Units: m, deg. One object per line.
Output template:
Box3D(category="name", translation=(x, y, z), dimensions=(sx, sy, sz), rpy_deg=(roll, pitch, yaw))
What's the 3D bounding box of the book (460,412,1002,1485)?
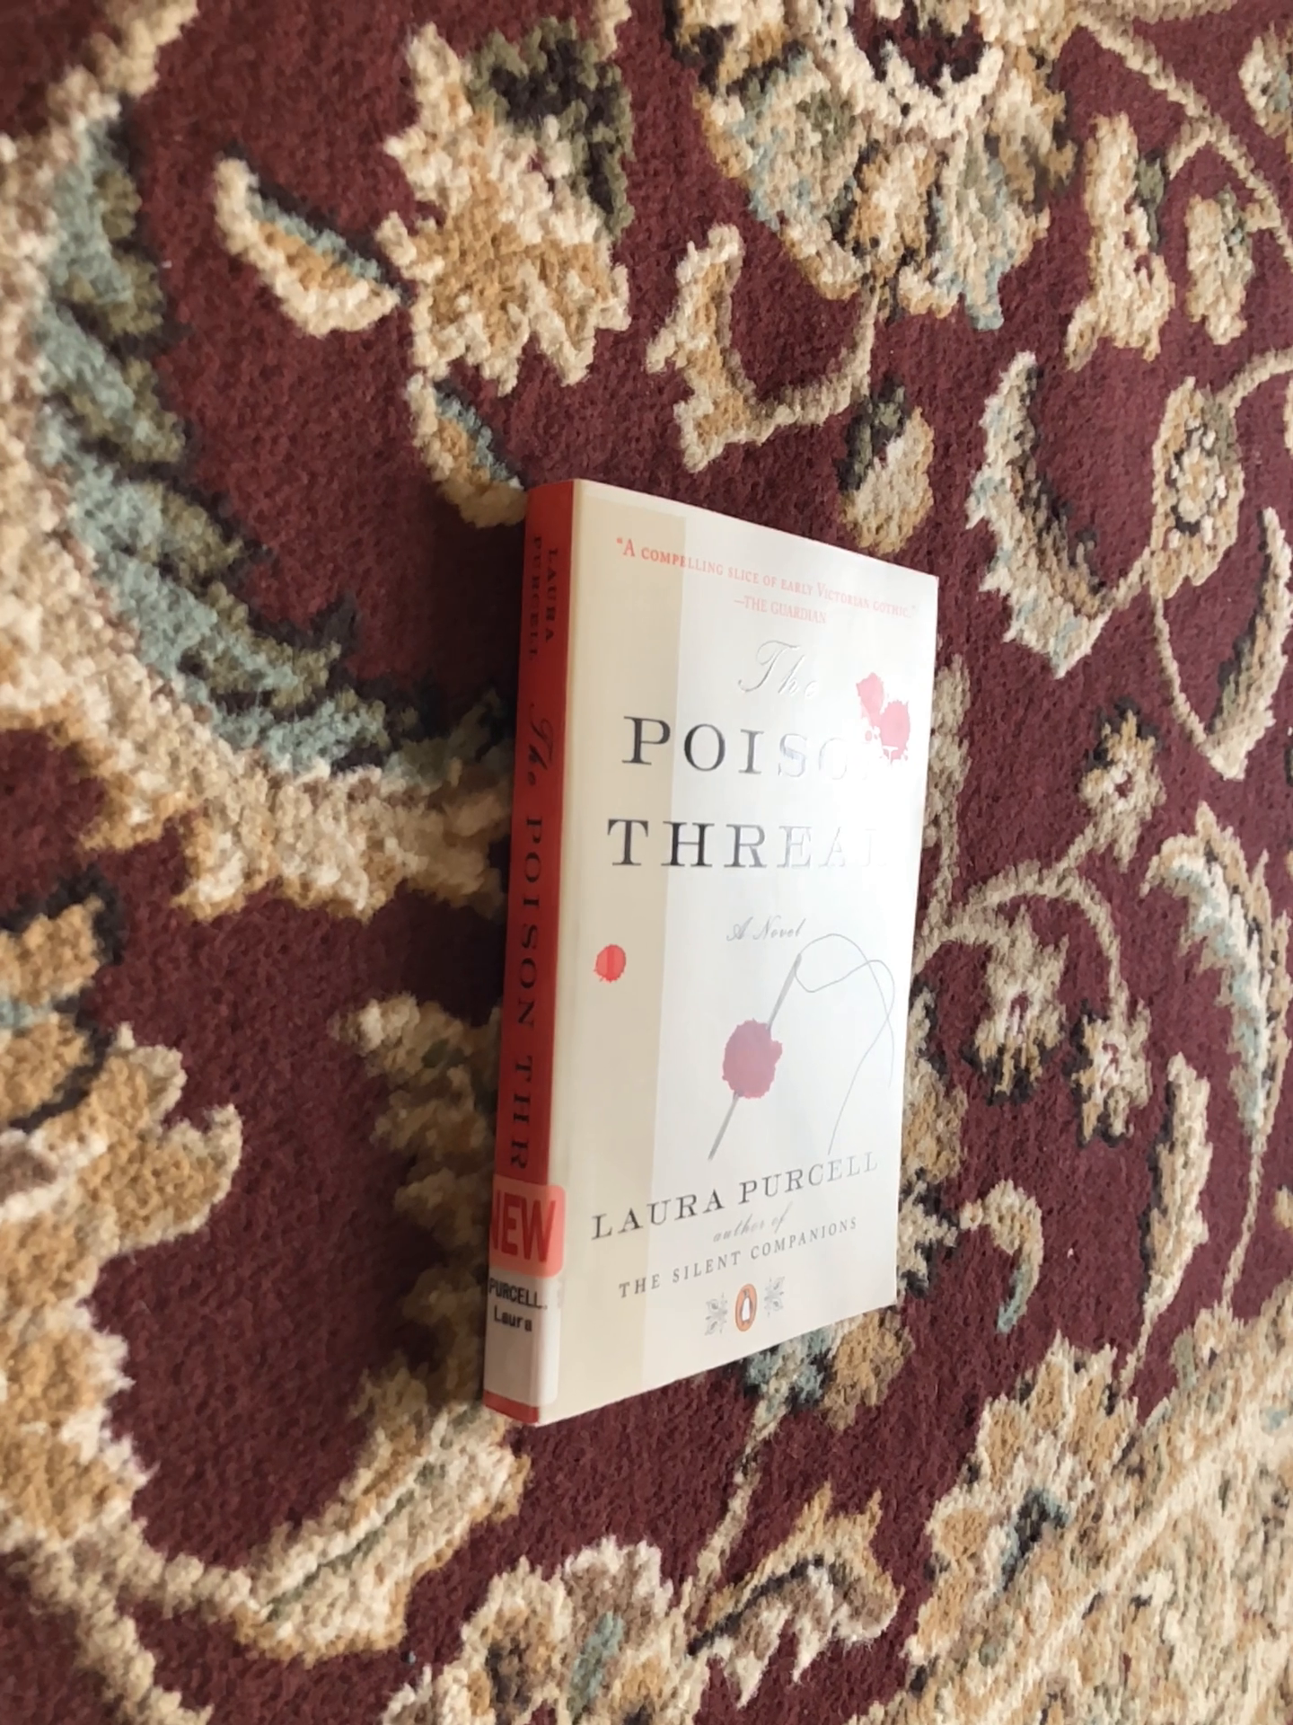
Box3D(category="book", translation=(0.026, 0.017, 0.327), dimensions=(0.141, 0.030, 0.200), rpy_deg=(0, 93, -45))
